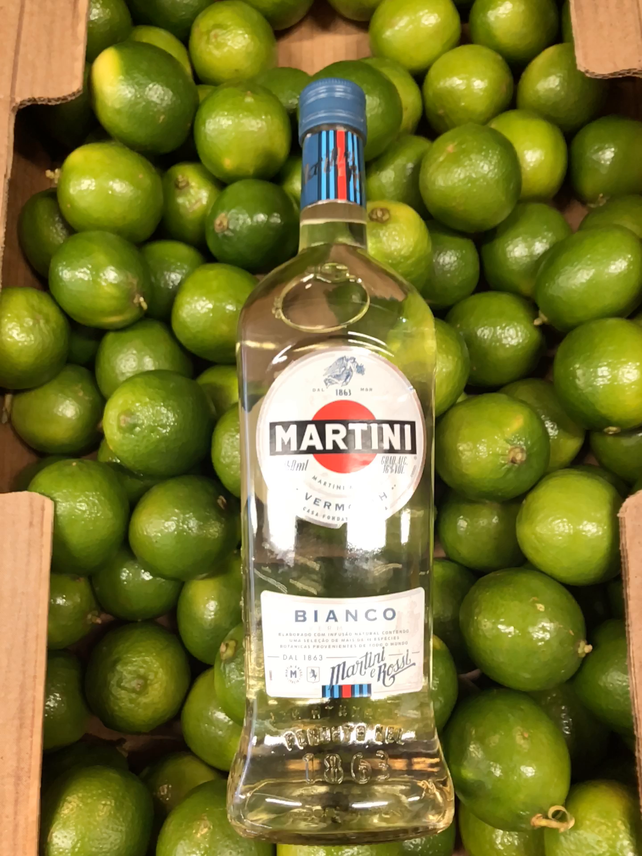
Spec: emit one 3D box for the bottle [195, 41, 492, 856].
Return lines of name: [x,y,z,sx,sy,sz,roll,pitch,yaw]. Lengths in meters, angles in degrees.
bottle: [0.002,-0.005,0.300,0.100,0.050,0.321,-2,78,-1]
